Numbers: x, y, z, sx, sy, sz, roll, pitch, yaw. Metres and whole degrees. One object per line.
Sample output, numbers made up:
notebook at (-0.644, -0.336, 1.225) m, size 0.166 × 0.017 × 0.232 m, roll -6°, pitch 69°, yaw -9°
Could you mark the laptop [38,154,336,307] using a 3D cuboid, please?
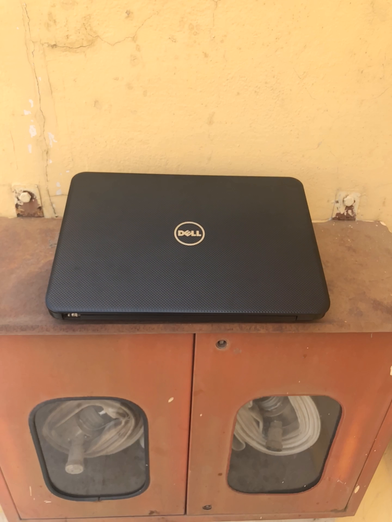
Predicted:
laptop at (-0.010, -0.048, 0.604) m, size 0.352 × 0.098 × 0.184 m, roll 0°, pitch 43°, yaw -2°
